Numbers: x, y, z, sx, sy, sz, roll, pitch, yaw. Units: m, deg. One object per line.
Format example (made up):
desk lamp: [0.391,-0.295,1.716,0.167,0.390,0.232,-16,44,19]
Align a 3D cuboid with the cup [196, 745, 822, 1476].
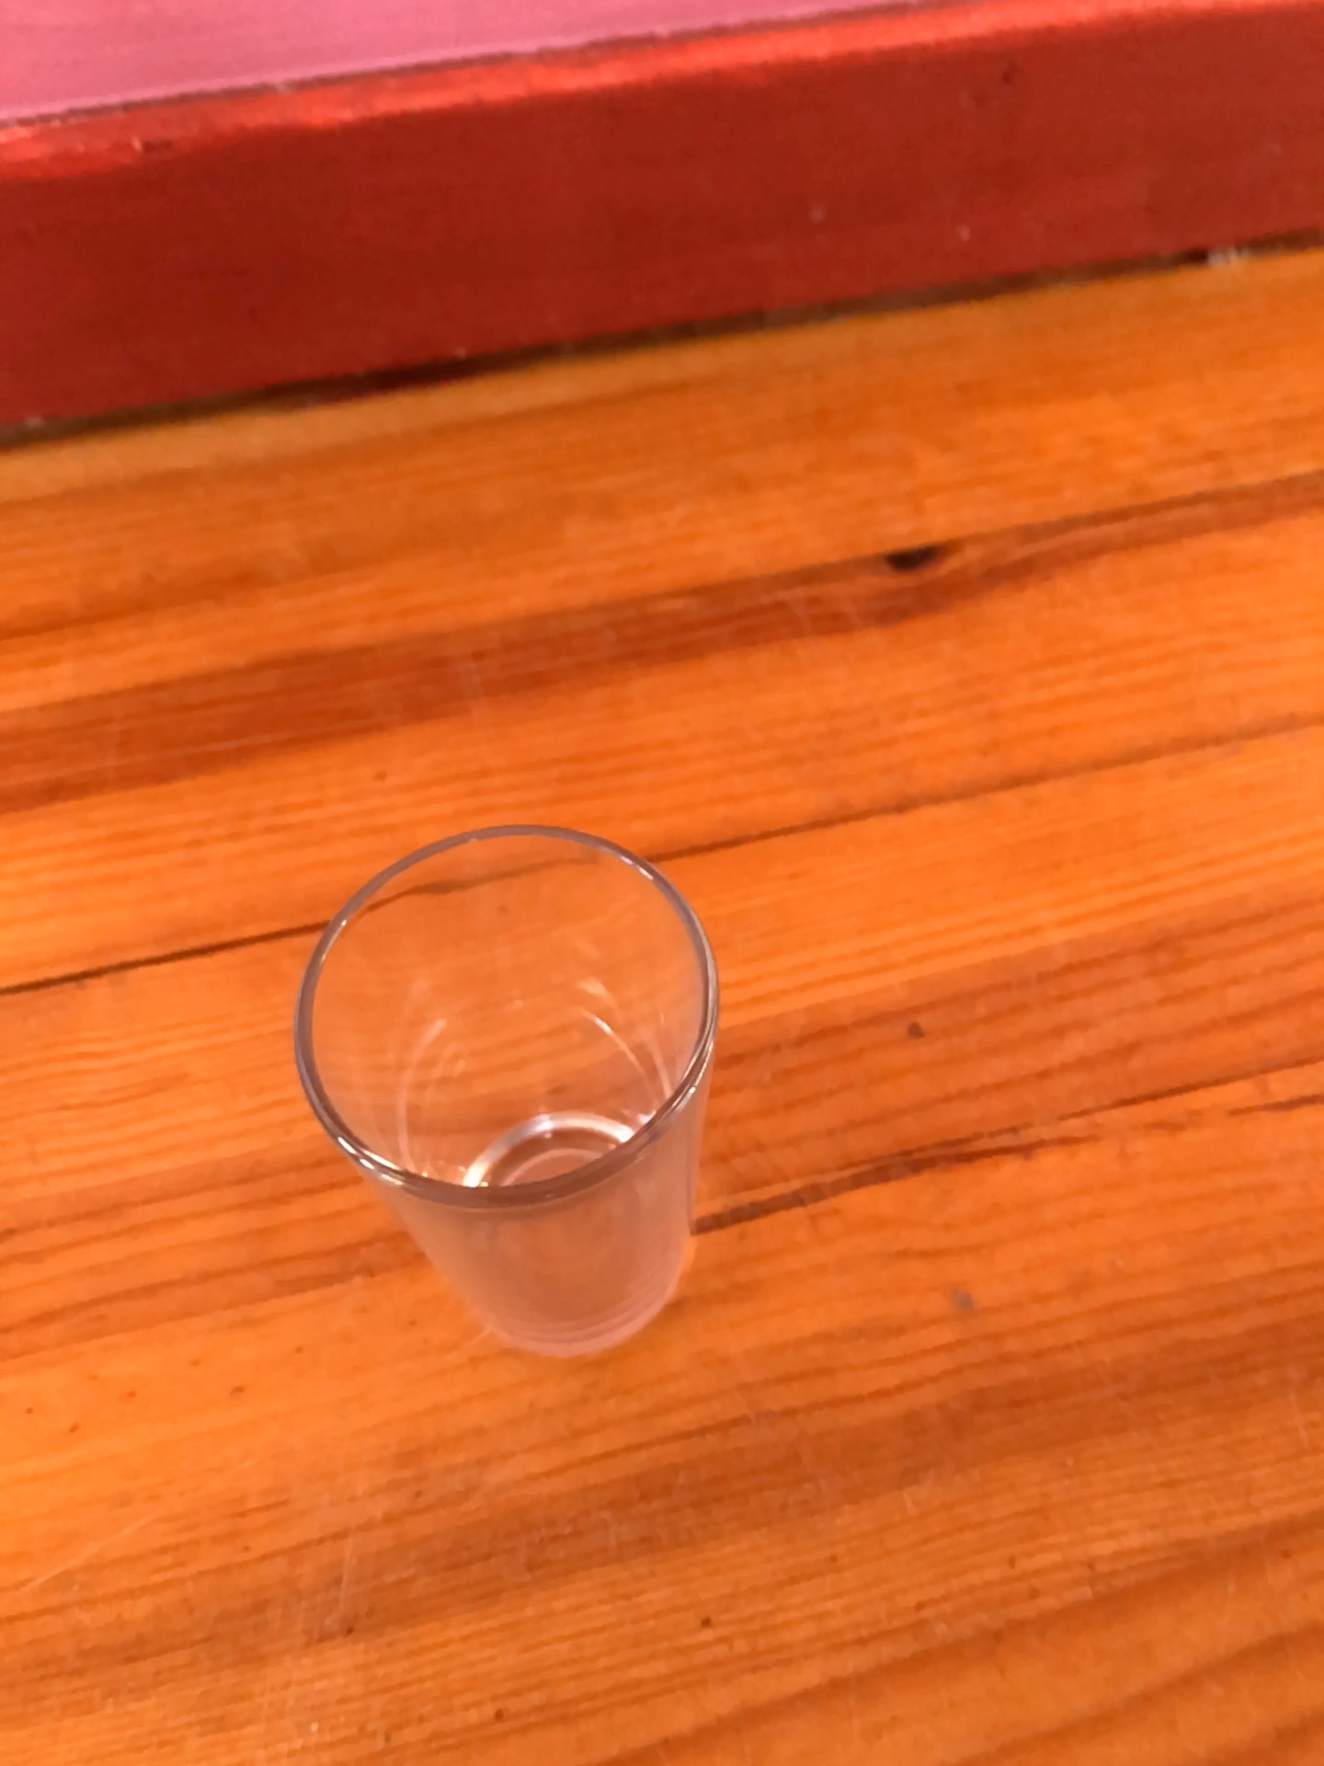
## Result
cup: [-0.015,0.035,0.208,0.051,0.079,0.055,-2,55,2]
